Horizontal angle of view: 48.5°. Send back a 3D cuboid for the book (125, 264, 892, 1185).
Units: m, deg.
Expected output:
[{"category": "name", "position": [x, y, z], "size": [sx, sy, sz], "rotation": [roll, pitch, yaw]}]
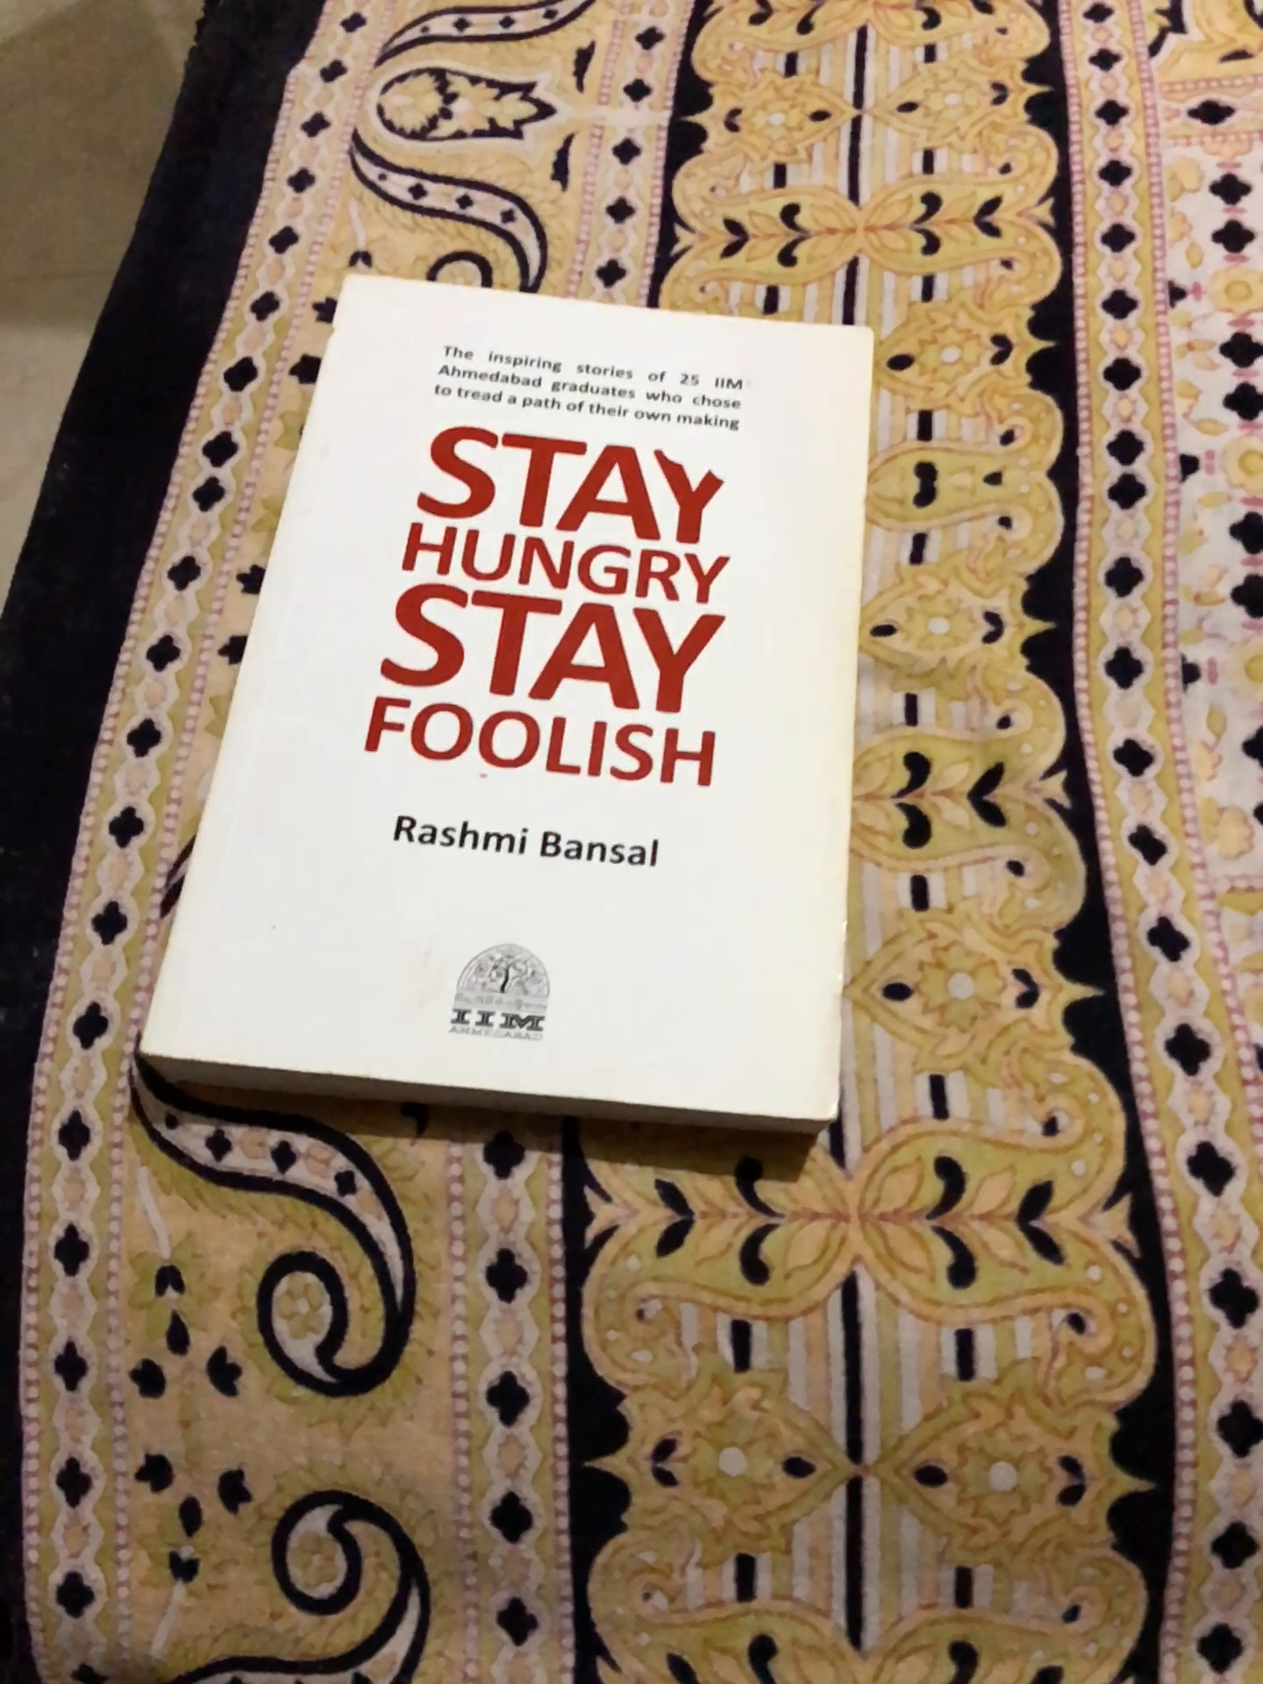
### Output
[{"category": "book", "position": [-0.017, -0.037, 0.332], "size": [0.140, 0.040, 0.210], "rotation": [7, 66, 2]}]
